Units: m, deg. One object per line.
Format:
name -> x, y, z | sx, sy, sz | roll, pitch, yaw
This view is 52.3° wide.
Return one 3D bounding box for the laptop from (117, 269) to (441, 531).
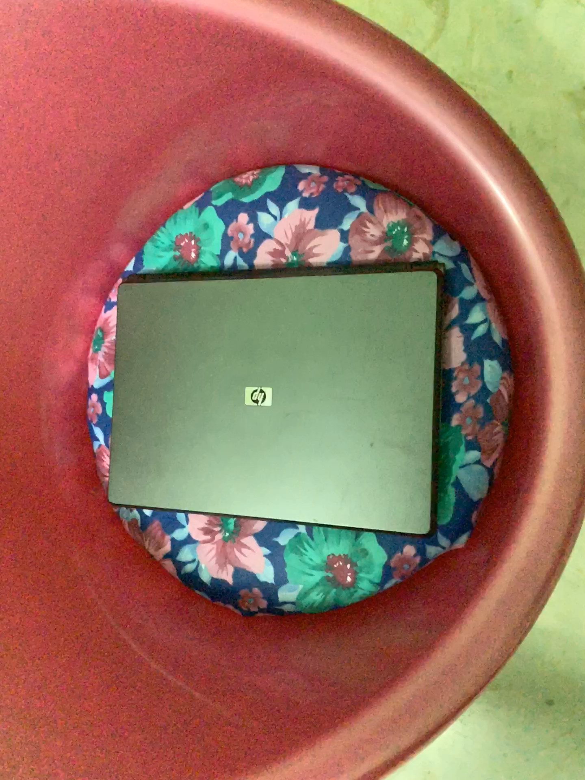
laptop -> -0.023, 0.004, 0.548 | 0.304, 0.003, 0.222 | 1, 89, 16
